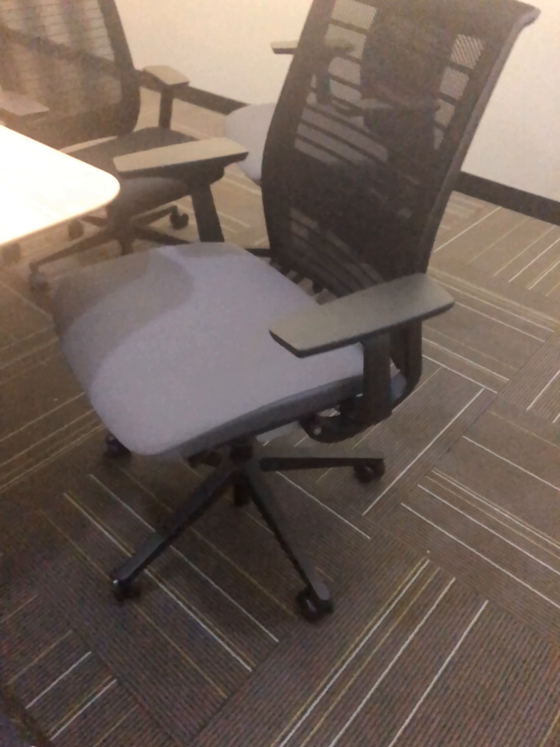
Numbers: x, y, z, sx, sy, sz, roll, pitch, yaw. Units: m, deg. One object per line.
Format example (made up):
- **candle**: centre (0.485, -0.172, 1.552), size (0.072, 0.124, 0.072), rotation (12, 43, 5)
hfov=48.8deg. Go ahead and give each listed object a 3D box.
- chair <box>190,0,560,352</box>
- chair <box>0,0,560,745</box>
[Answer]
- **chair**: centre (0.183, -0.714, 1.817), size (0.712, 0.961, 0.725), rotation (-10, 40, -15)
- **chair**: centre (-0.063, -0.114, 1.046), size (0.723, 0.961, 0.734), rotation (-18, 43, -24)
